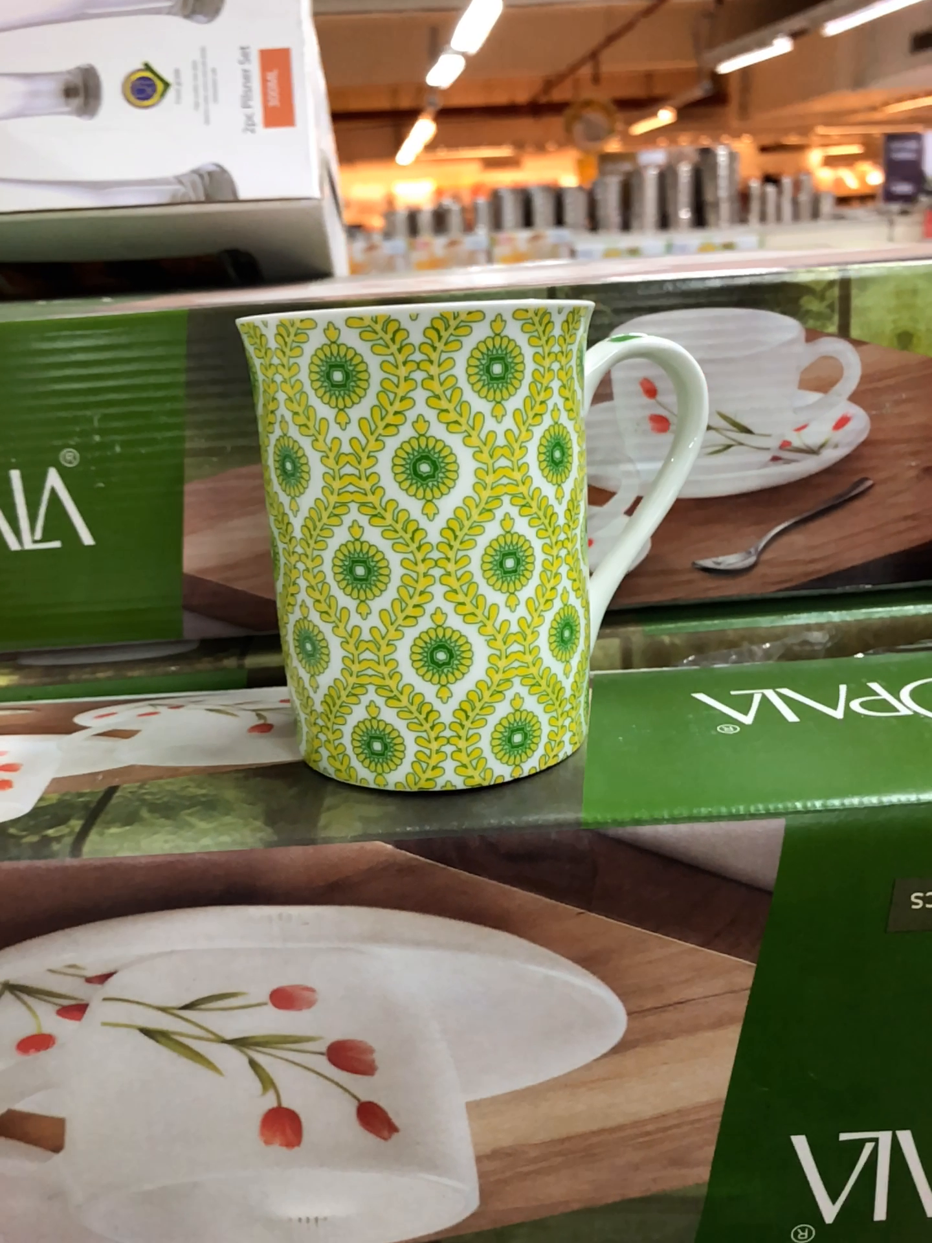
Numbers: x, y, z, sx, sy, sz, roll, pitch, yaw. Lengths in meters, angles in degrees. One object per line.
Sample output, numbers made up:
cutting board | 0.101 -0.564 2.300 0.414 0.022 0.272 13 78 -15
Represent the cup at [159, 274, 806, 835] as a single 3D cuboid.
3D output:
cup | 0.004 -0.023 0.227 0.110 0.090 0.080 -10 13 -29
